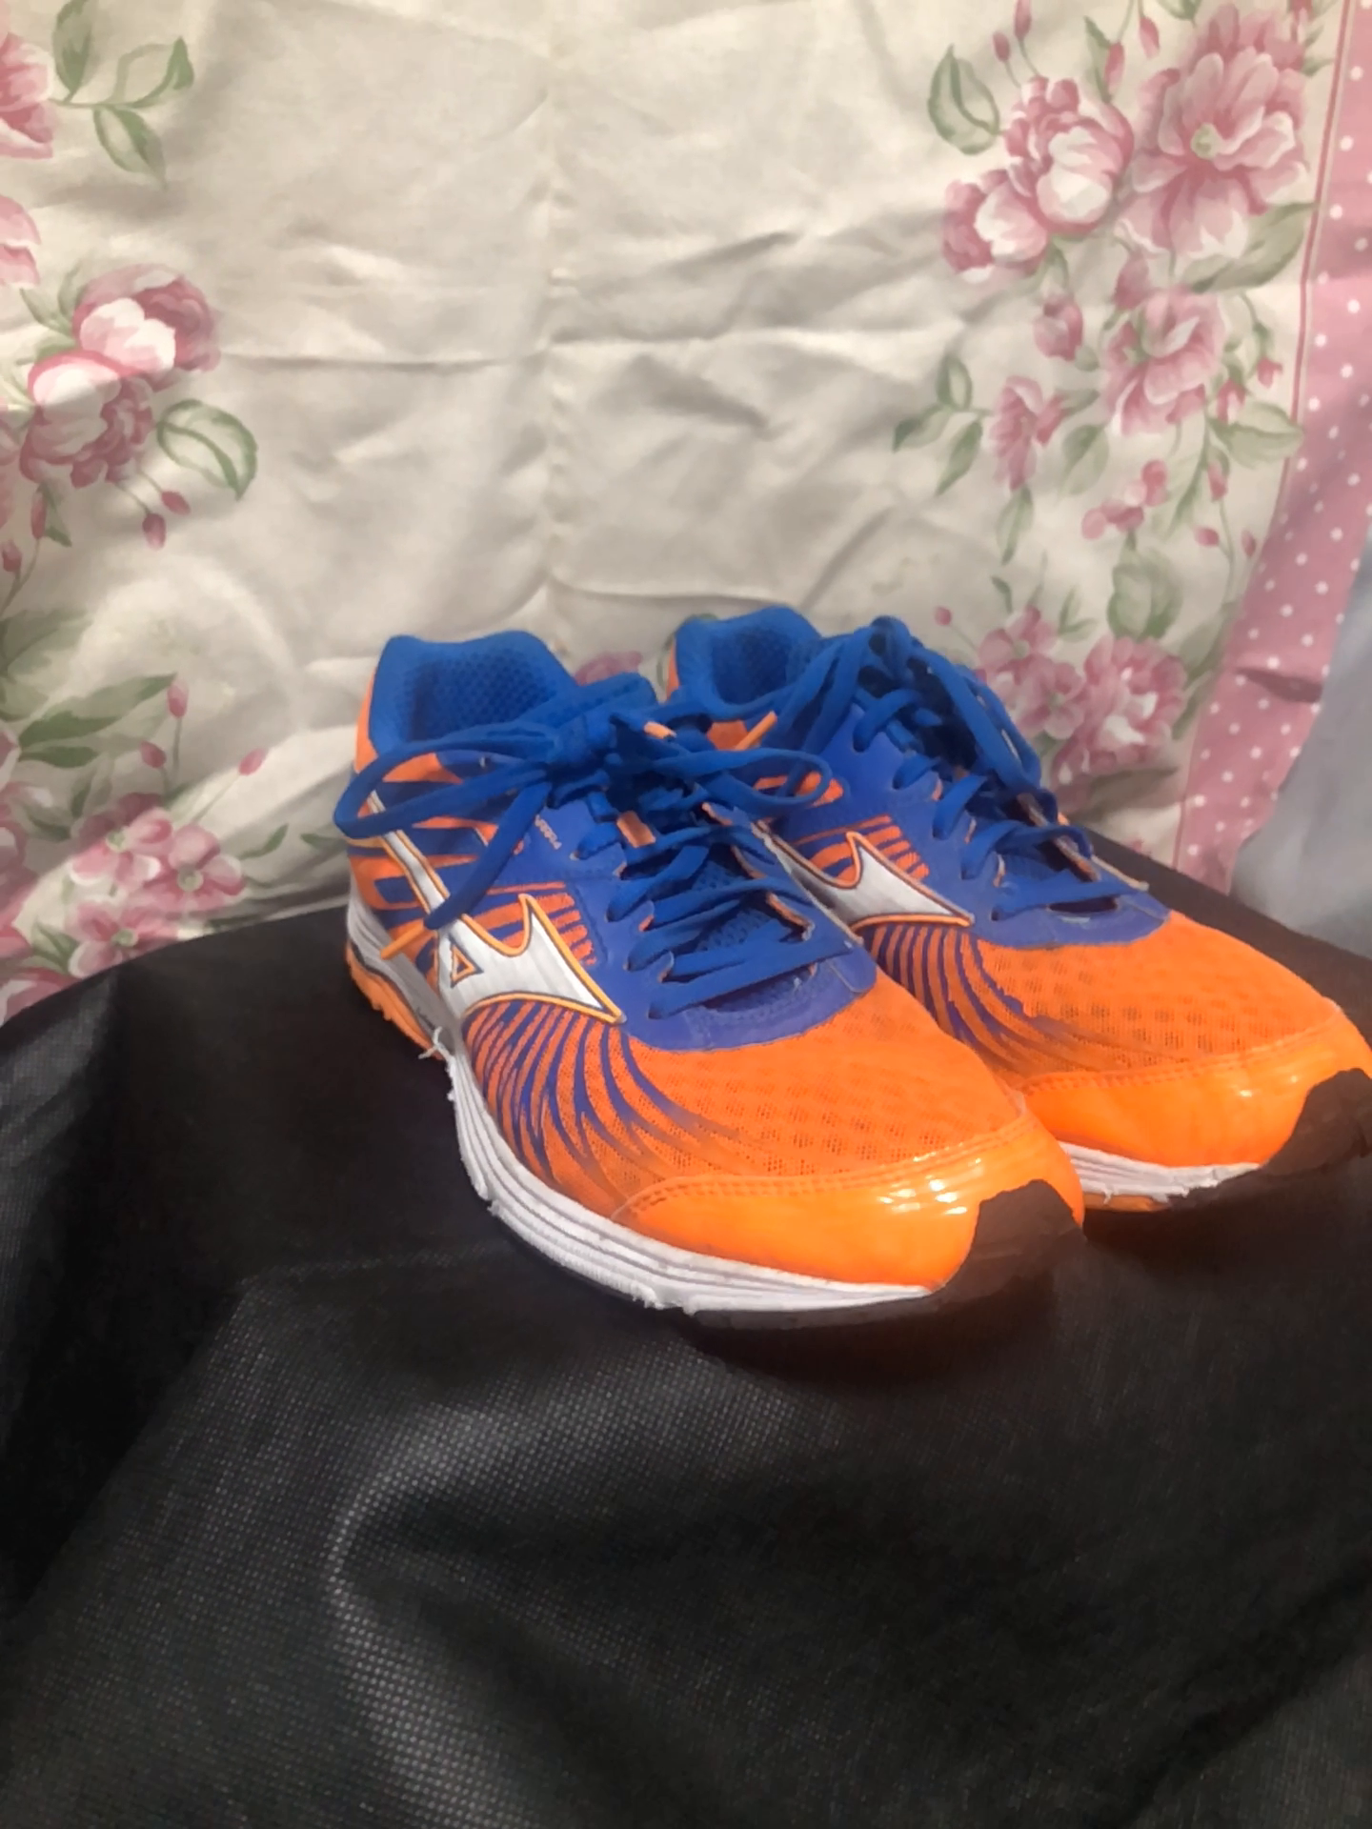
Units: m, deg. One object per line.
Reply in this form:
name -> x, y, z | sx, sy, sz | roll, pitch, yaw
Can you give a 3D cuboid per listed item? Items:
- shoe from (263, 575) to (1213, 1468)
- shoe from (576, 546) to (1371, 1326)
shoe -> -0.008, -0.002, 0.360 | 0.110, 0.109, 0.221 | -12, 26, -29
shoe -> 0.072, -0.018, 0.392 | 0.110, 0.109, 0.221 | -12, 26, -29
